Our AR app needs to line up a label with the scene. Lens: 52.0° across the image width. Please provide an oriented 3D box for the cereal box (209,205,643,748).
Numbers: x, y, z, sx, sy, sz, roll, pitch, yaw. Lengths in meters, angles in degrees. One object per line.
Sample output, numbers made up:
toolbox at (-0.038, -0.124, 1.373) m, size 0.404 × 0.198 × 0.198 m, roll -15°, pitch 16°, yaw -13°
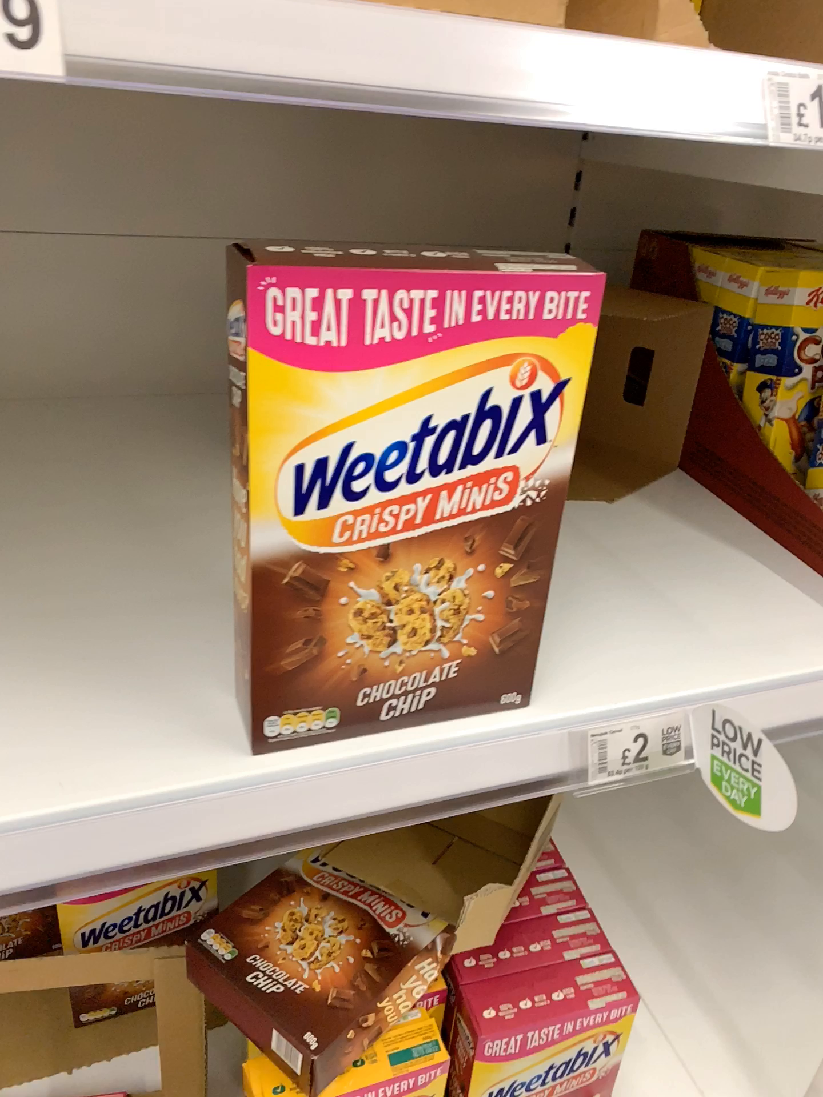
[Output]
cereal box at (-0.003, -0.037, 0.492) m, size 0.210 × 0.287 × 0.071 m, roll -5°, pitch 29°, yaw -20°
